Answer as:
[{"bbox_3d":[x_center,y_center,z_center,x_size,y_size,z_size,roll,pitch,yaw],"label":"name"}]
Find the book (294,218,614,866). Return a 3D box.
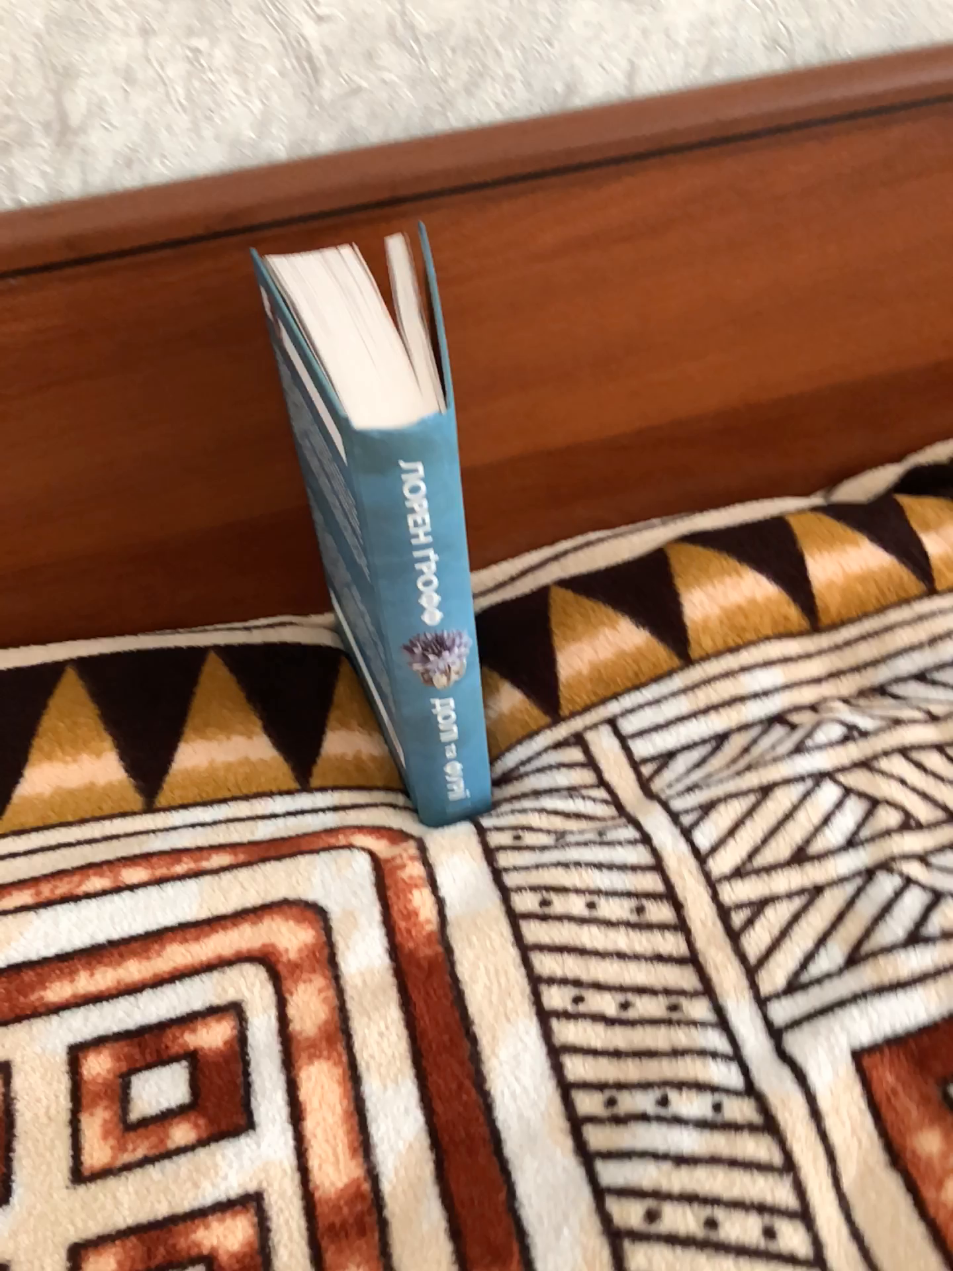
[{"bbox_3d":[-0.010,-0.037,0.432,0.078,0.199,0.161,-12,43,-8],"label":"book"}]
